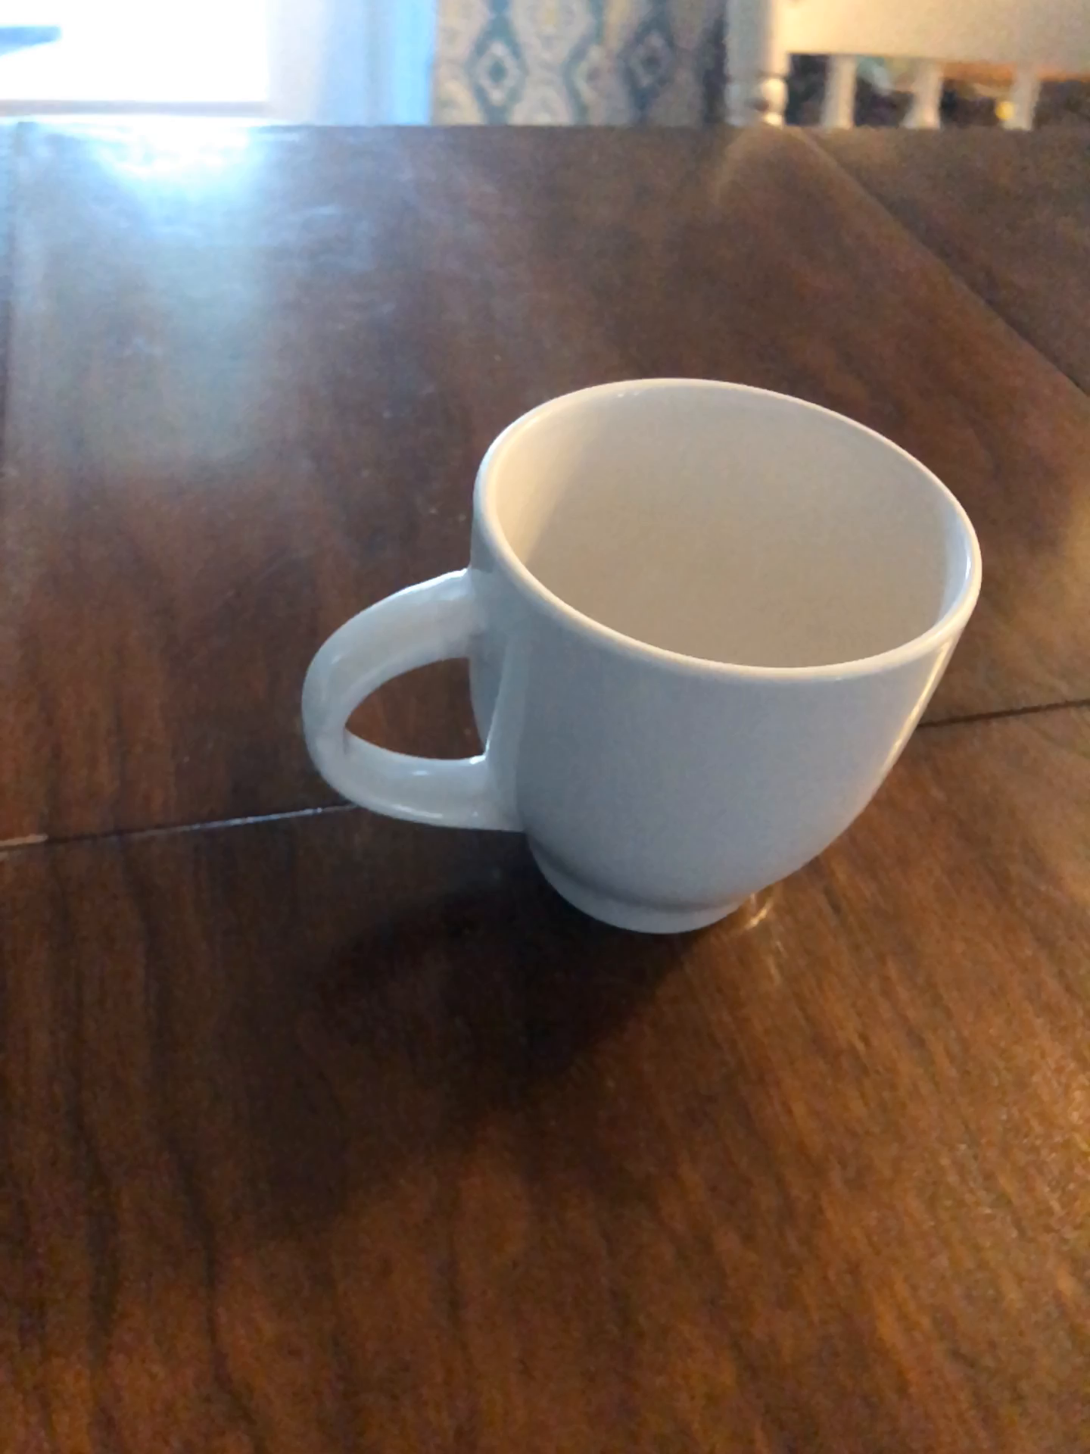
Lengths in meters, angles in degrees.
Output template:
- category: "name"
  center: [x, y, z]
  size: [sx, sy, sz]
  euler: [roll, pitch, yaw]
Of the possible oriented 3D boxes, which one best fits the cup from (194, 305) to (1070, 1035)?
- category: "cup"
  center: [0.008, -0.020, 0.284]
  size: [0.150, 0.100, 0.110]
  euler: [-10, 48, -17]
